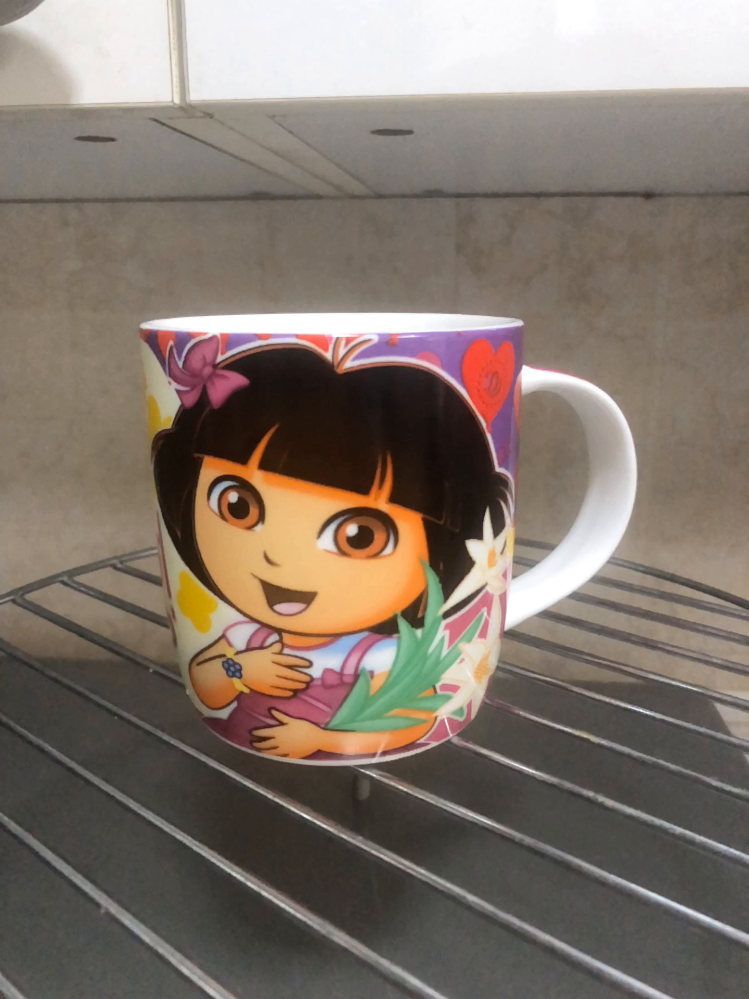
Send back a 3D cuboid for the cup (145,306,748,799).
[{"bbox_3d":[0.011,0.001,0.199,0.120,0.090,0.070,-3,15,-16],"label":"cup"}]
